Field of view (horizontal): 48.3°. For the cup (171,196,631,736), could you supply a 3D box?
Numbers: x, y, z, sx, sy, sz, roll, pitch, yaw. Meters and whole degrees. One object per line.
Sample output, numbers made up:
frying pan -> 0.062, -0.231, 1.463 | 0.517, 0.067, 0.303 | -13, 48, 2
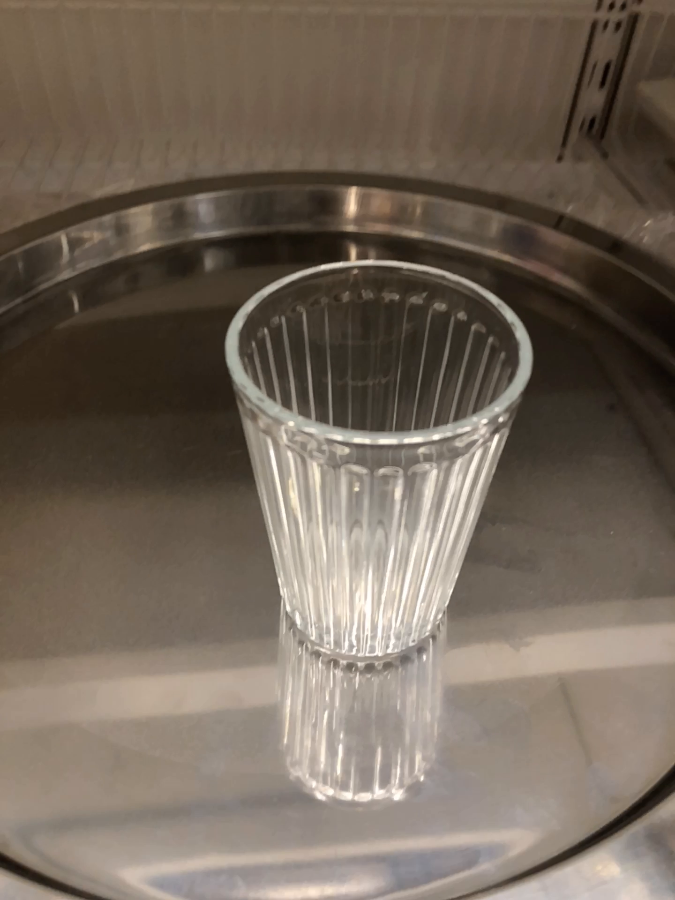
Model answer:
cup -> 0.011, 0.004, 0.194 | 0.070, 0.100, 0.070 | 0, 44, 0
